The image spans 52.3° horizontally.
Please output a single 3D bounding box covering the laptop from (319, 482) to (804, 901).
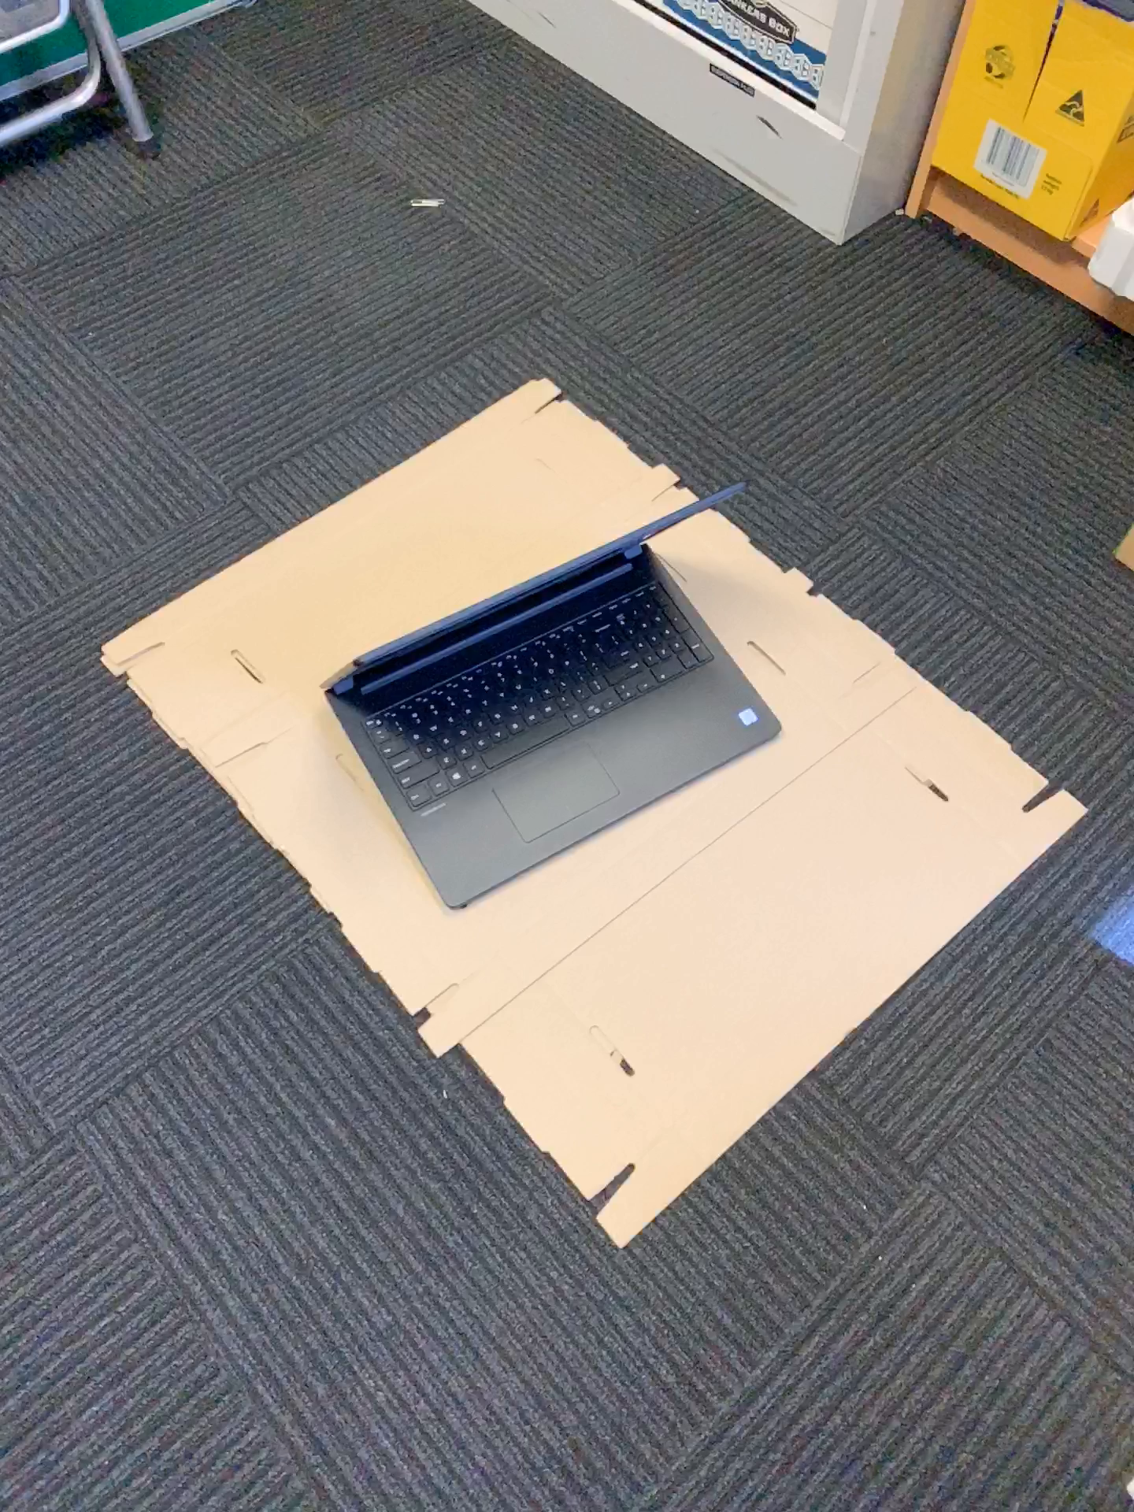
[{"bbox_3d":[-0.004,-0.065,0.992,0.341,0.085,0.221,-27,67,-16],"label":"laptop"}]
